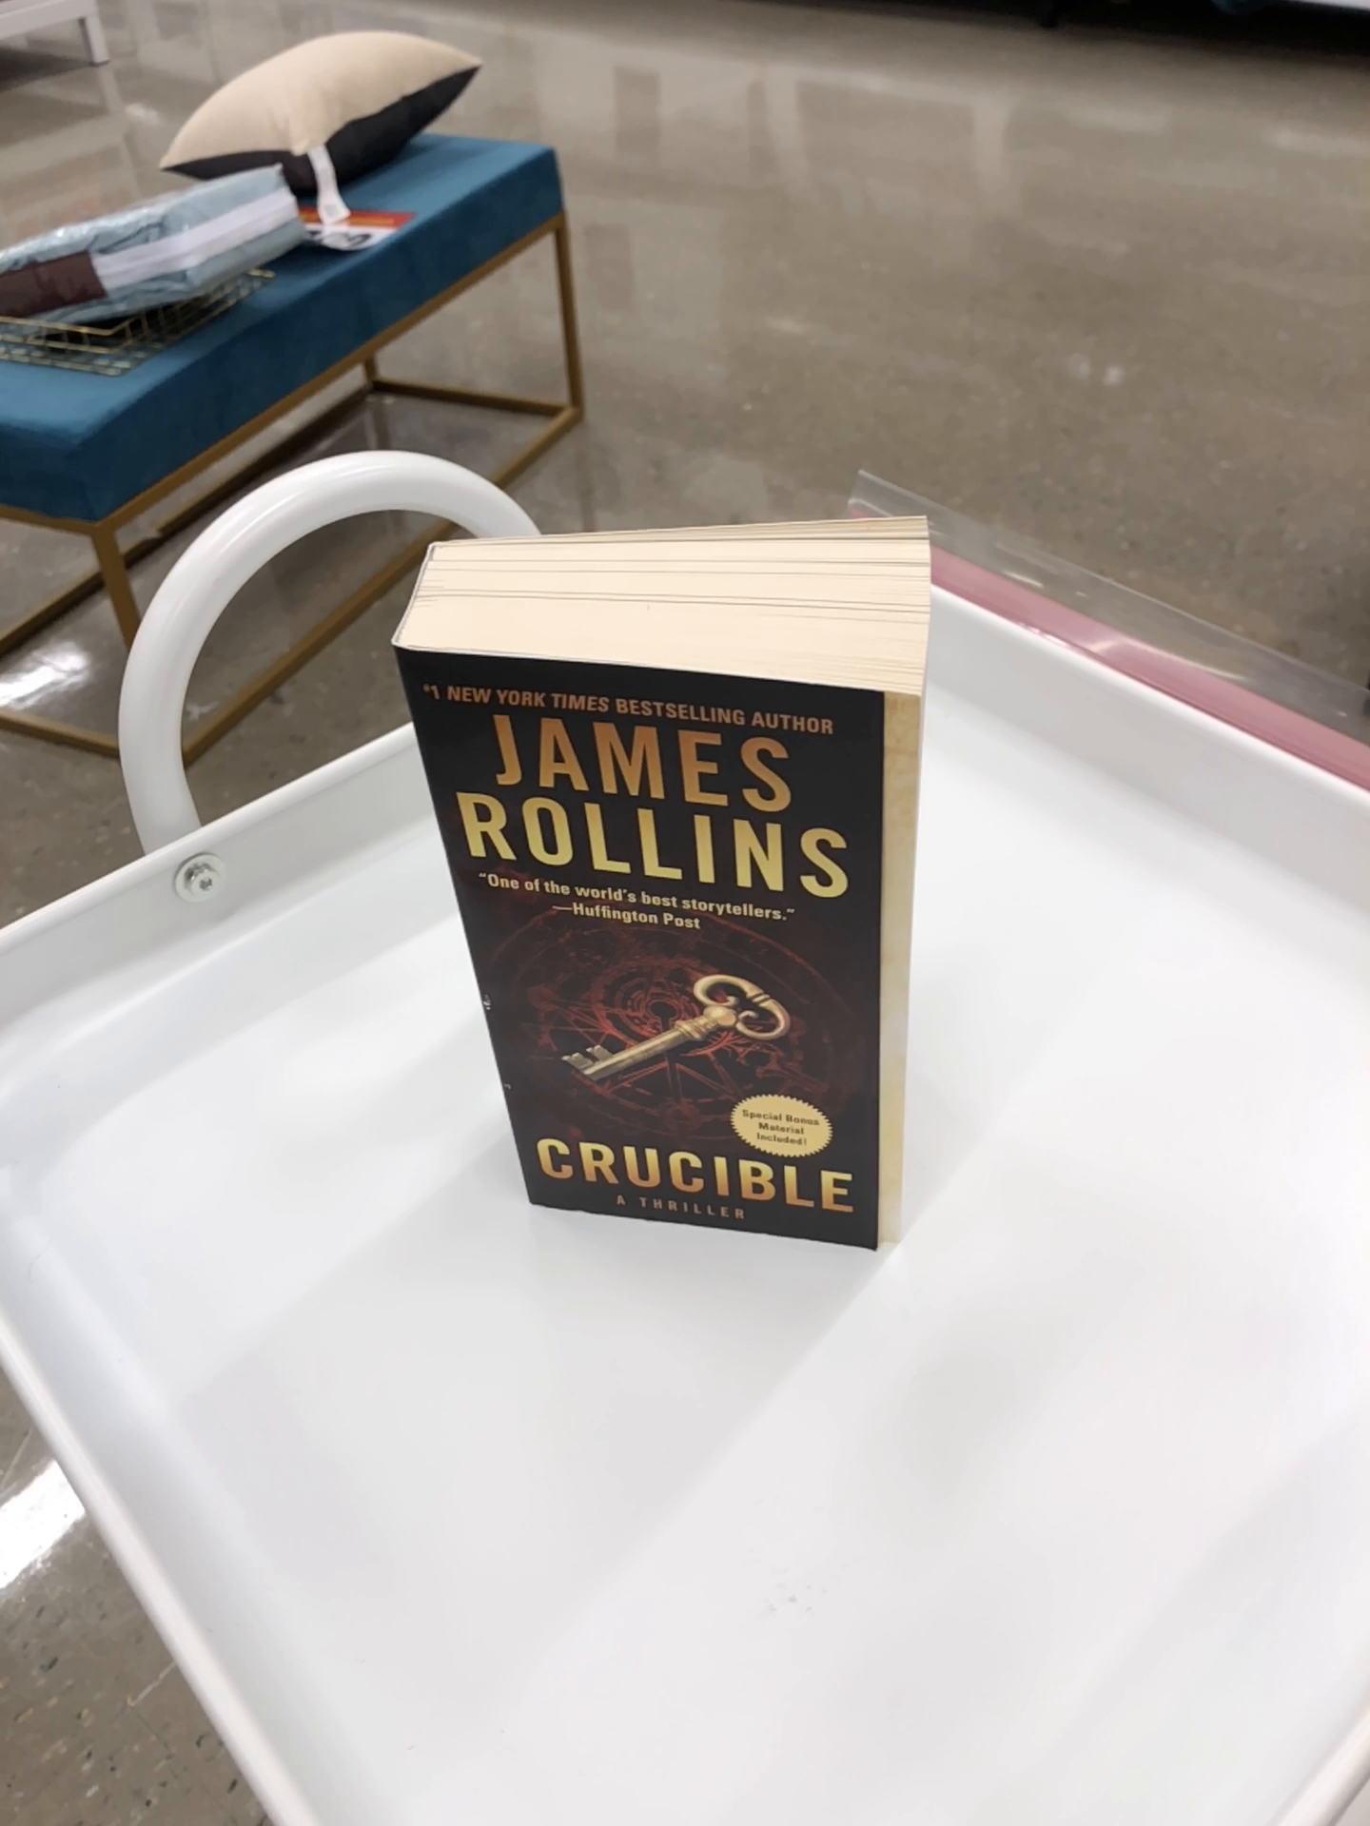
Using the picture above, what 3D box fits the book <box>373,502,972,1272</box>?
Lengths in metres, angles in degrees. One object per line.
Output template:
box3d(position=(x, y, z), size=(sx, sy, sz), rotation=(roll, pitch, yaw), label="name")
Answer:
box3d(position=(0.006, 0.002, 0.368), size=(0.112, 0.184, 0.066), rotation=(3, 44, 8), label="book")
